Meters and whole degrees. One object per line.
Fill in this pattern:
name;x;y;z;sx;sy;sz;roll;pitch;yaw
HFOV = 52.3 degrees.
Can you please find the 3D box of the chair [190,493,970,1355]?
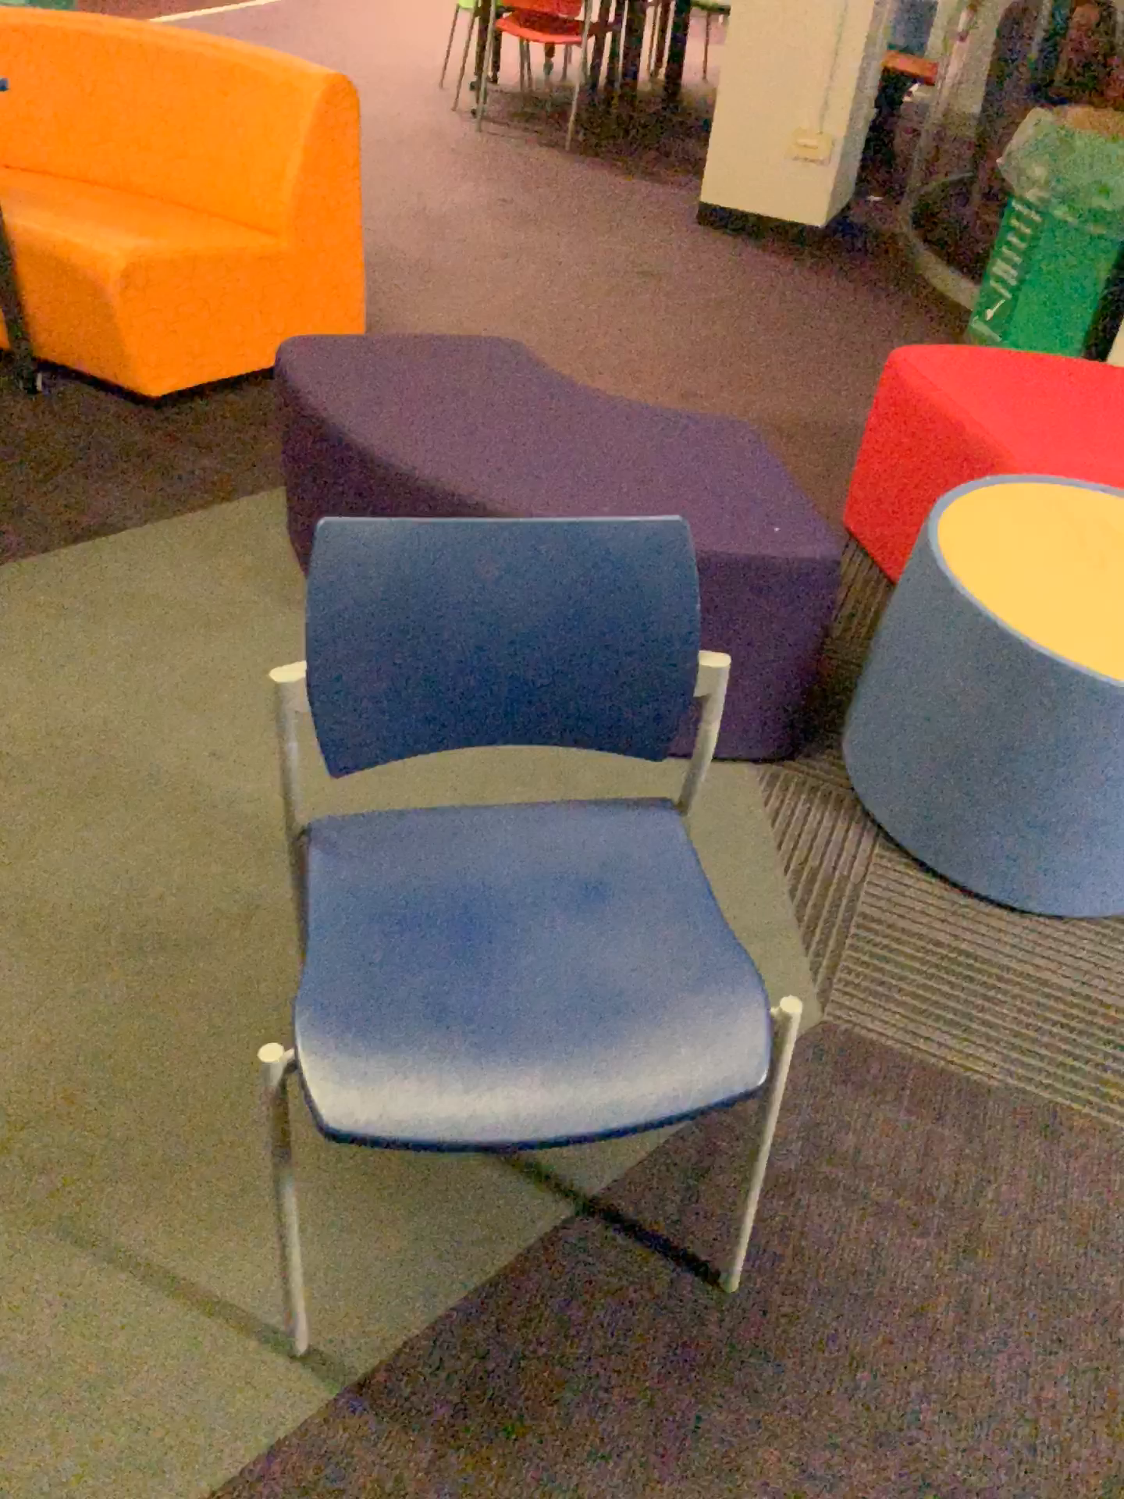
chair;-0.044;0.176;1.244;0.560;0.694;0.575;-2;41;-10
